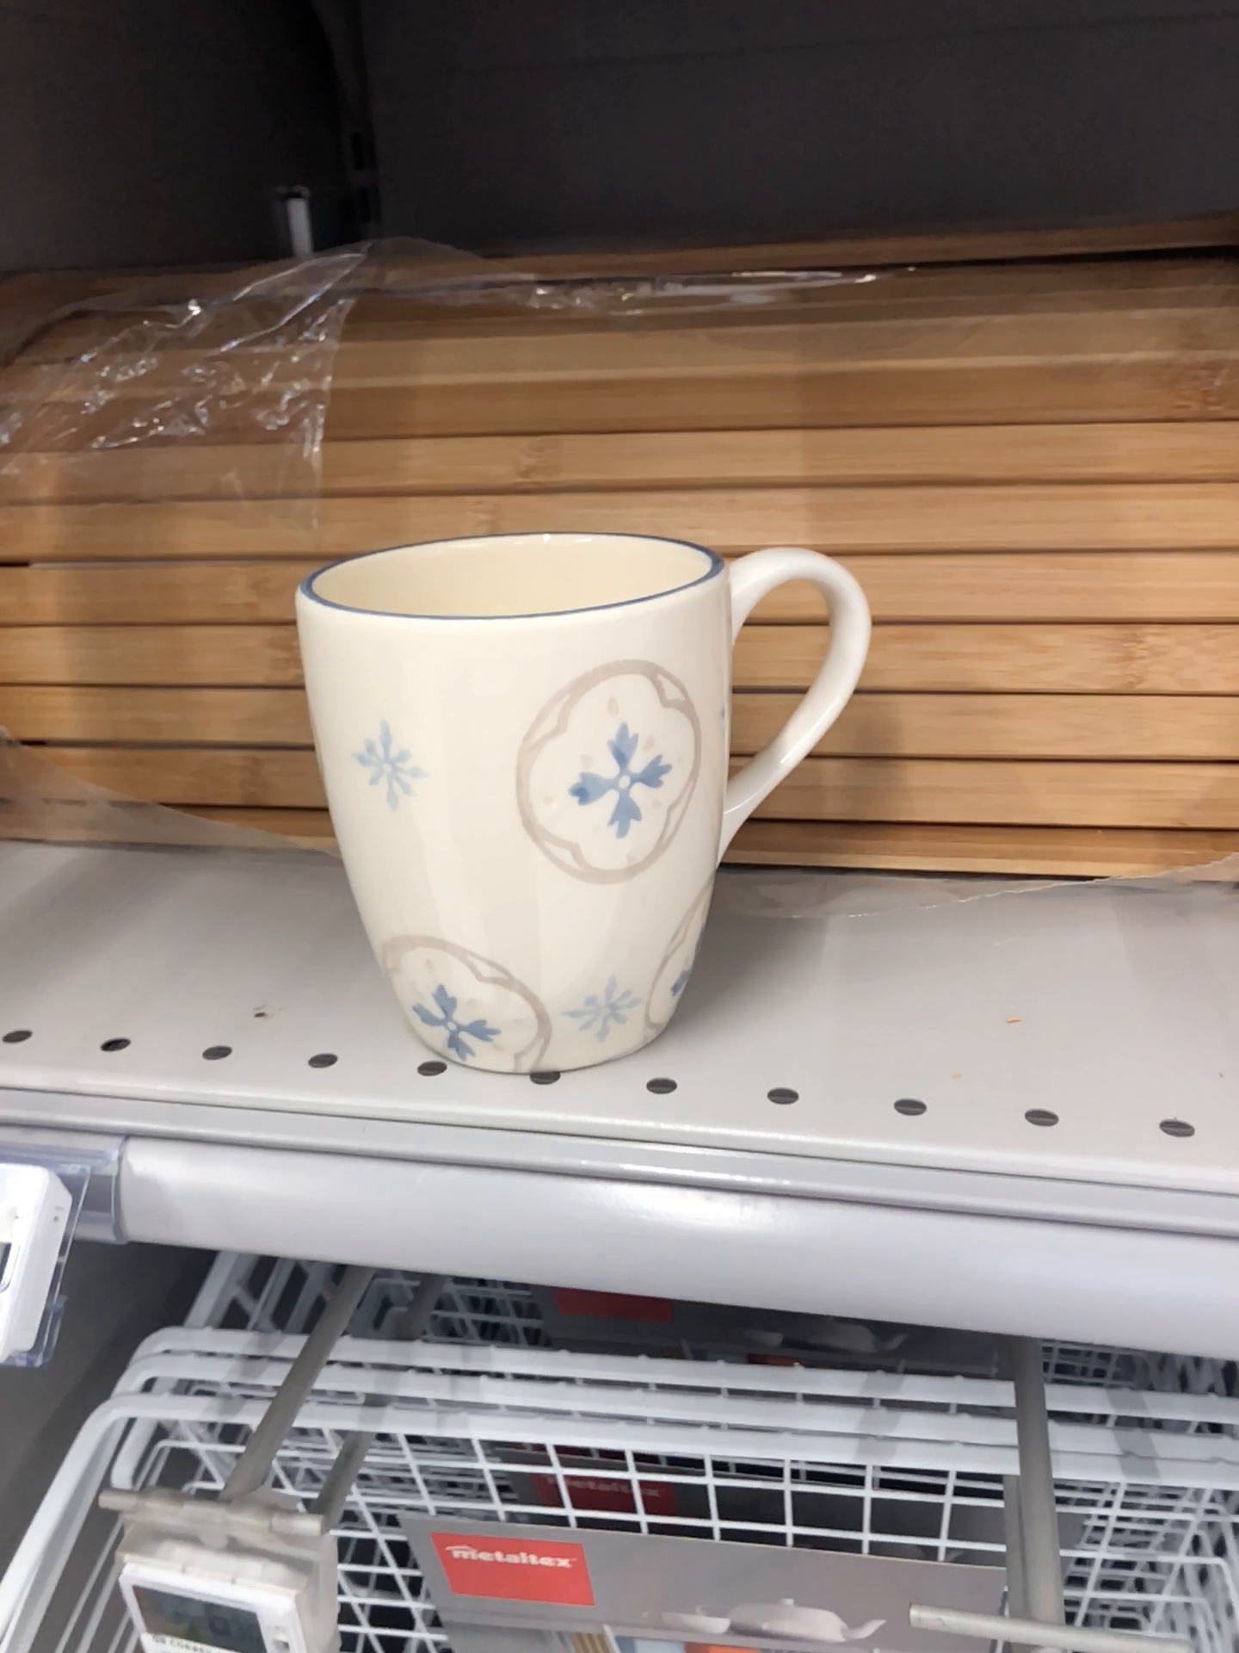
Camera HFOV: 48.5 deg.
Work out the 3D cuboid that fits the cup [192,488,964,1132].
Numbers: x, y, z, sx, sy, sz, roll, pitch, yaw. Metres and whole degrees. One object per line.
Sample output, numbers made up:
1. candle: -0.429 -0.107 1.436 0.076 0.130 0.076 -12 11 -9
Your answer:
1. cup: -0.007 -0.014 0.296 0.134 0.089 0.083 -15 25 -26
